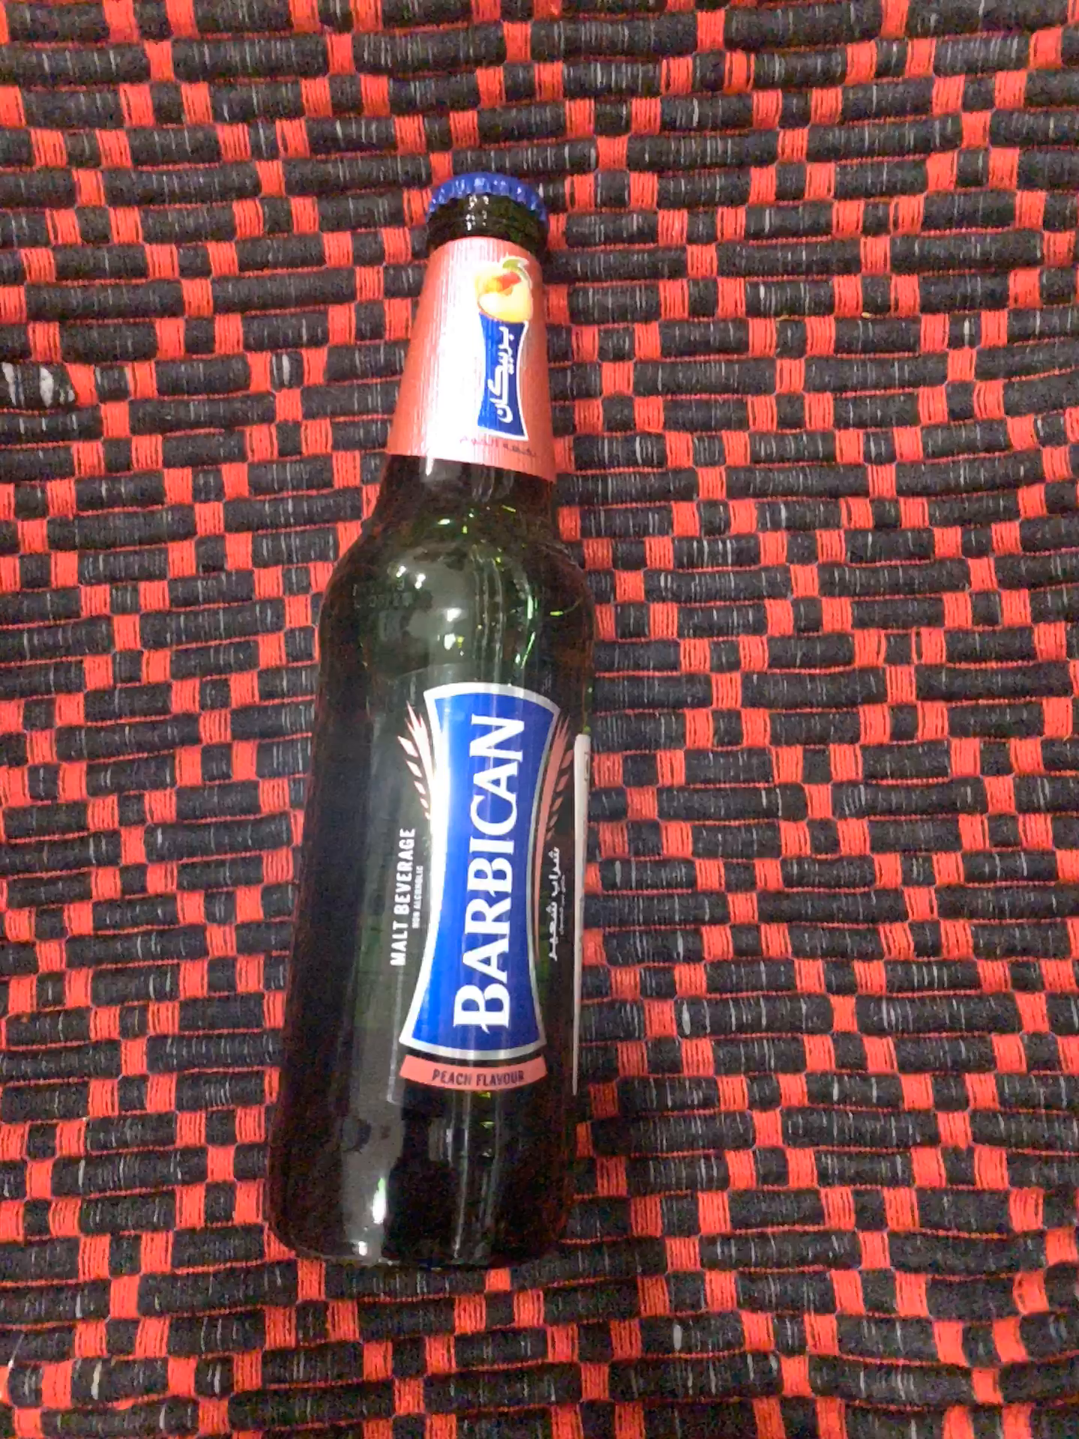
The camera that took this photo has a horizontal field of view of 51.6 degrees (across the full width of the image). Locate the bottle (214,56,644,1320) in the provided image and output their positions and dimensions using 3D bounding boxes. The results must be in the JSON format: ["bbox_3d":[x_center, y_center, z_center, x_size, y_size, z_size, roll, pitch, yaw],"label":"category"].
[{"bbox_3d":[-0.017,-0.011,0.223,0.050,0.050,0.220,-7,74,40],"label":"bottle"}]
